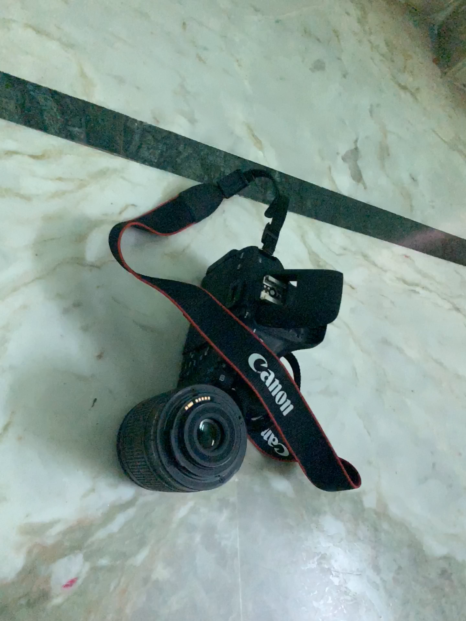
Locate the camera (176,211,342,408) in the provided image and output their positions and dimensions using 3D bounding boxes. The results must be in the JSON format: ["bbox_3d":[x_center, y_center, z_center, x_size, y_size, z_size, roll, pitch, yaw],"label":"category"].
[{"bbox_3d":[0.022,0.004,0.371,0.082,0.078,0.112,26,60,-24],"label":"camera"}]
